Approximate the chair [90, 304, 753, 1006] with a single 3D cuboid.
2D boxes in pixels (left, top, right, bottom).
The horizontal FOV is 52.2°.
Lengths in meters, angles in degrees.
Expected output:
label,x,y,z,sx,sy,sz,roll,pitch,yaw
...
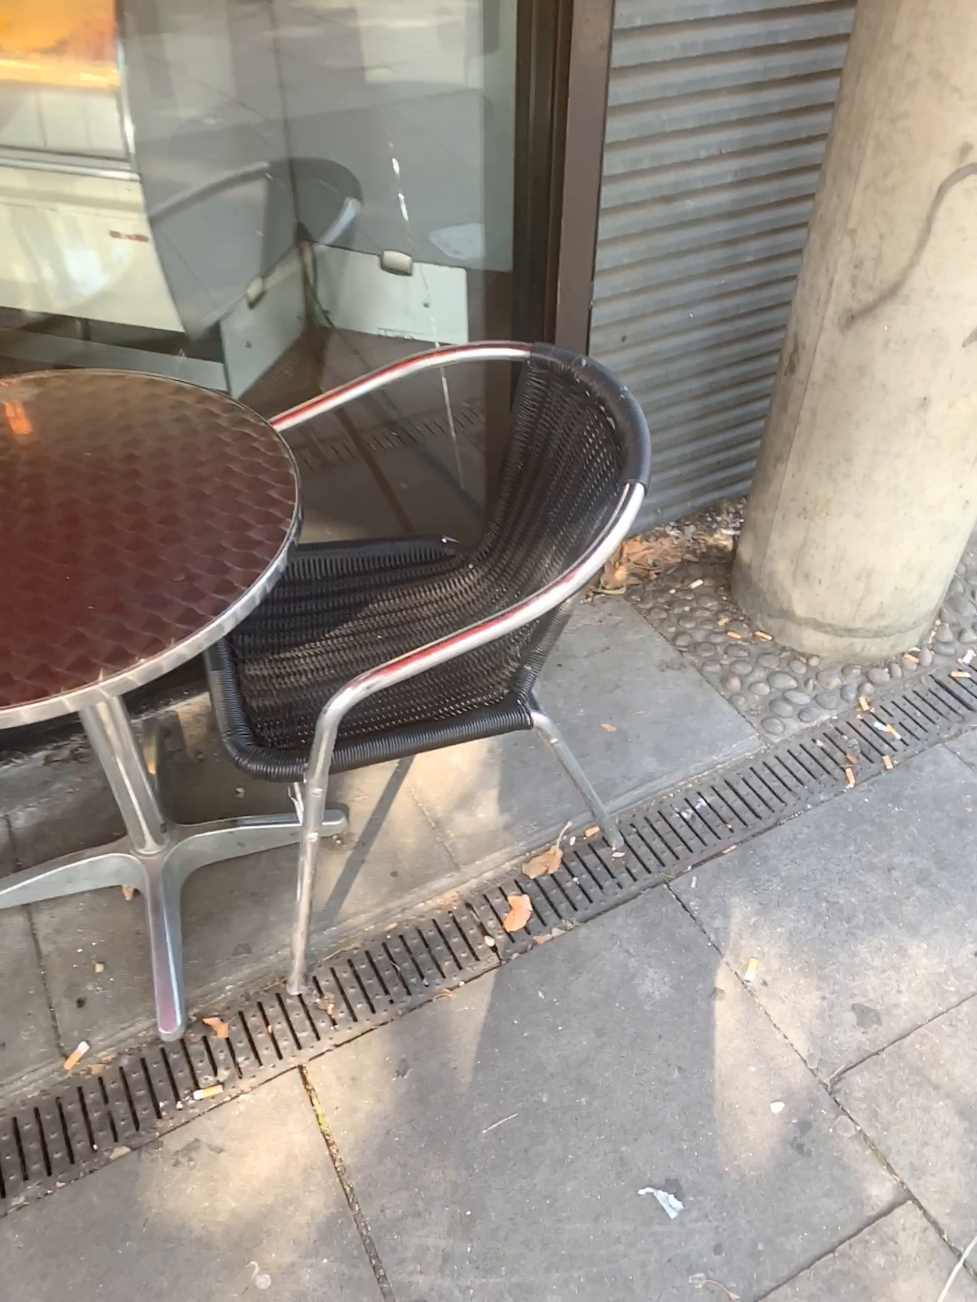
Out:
label,x,y,z,sx,sy,sz,roll,pitch,yaw
chair,-0.120,-0.025,1.398,0.641,0.604,0.605,-15,44,-15
